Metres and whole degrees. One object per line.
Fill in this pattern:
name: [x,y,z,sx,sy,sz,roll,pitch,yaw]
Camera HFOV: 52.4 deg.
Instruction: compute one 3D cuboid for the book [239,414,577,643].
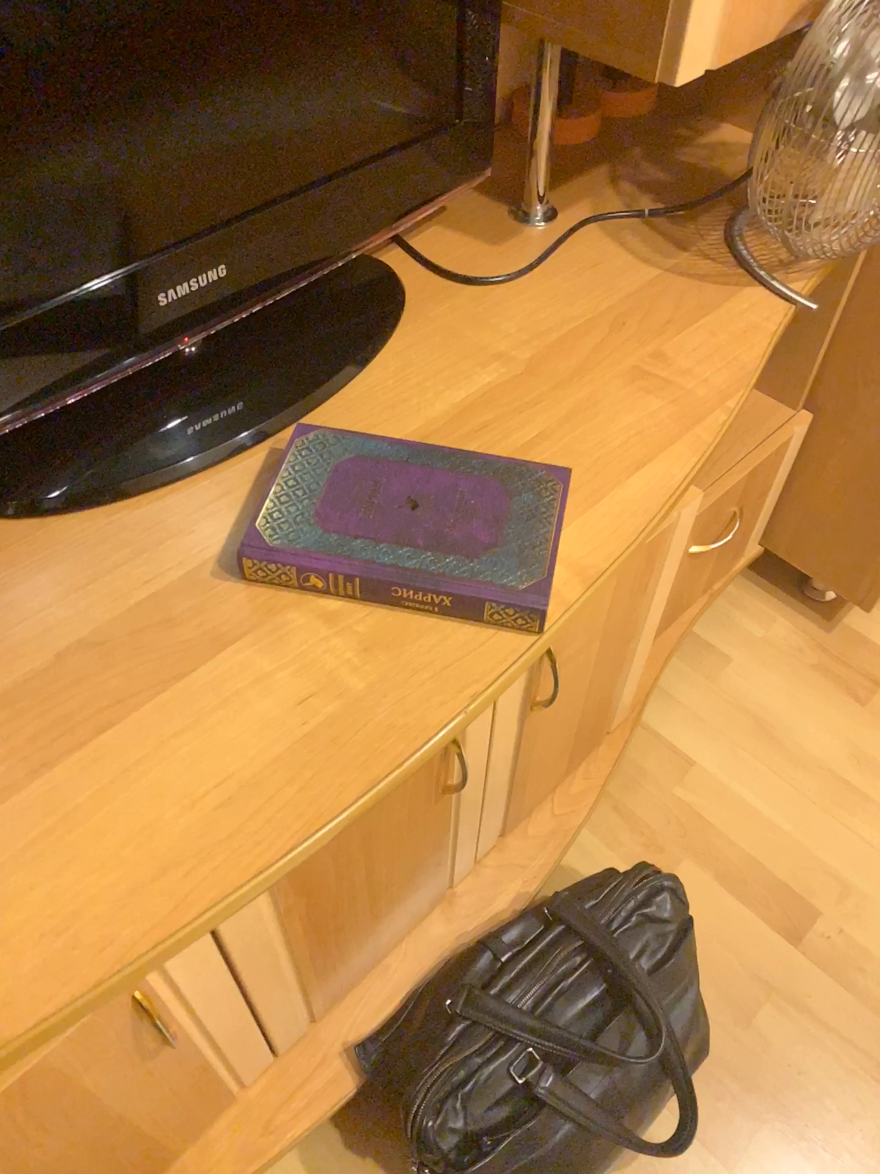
book: [-0.016,-0.044,0.610,0.200,0.040,0.131,11,51,6]
